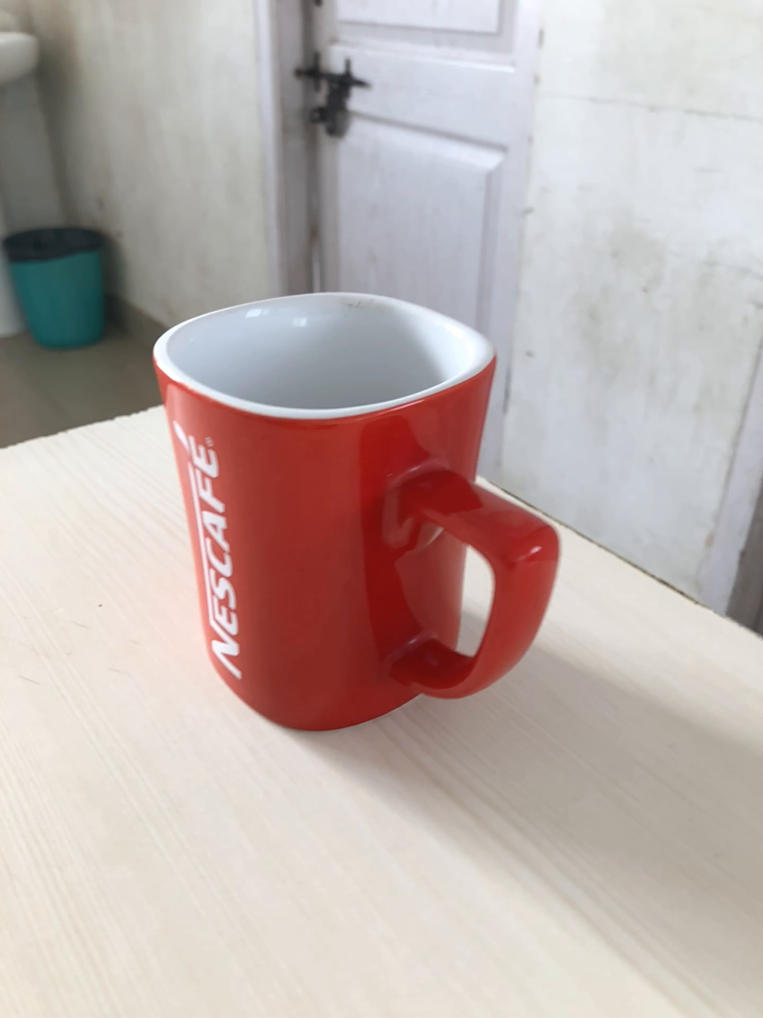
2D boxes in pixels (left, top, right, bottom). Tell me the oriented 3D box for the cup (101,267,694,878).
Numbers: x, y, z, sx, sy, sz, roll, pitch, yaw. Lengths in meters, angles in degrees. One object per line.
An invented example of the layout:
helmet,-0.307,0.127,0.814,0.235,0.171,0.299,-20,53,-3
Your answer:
cup,-0.001,0.003,0.213,0.080,0.089,0.110,-23,38,-34
